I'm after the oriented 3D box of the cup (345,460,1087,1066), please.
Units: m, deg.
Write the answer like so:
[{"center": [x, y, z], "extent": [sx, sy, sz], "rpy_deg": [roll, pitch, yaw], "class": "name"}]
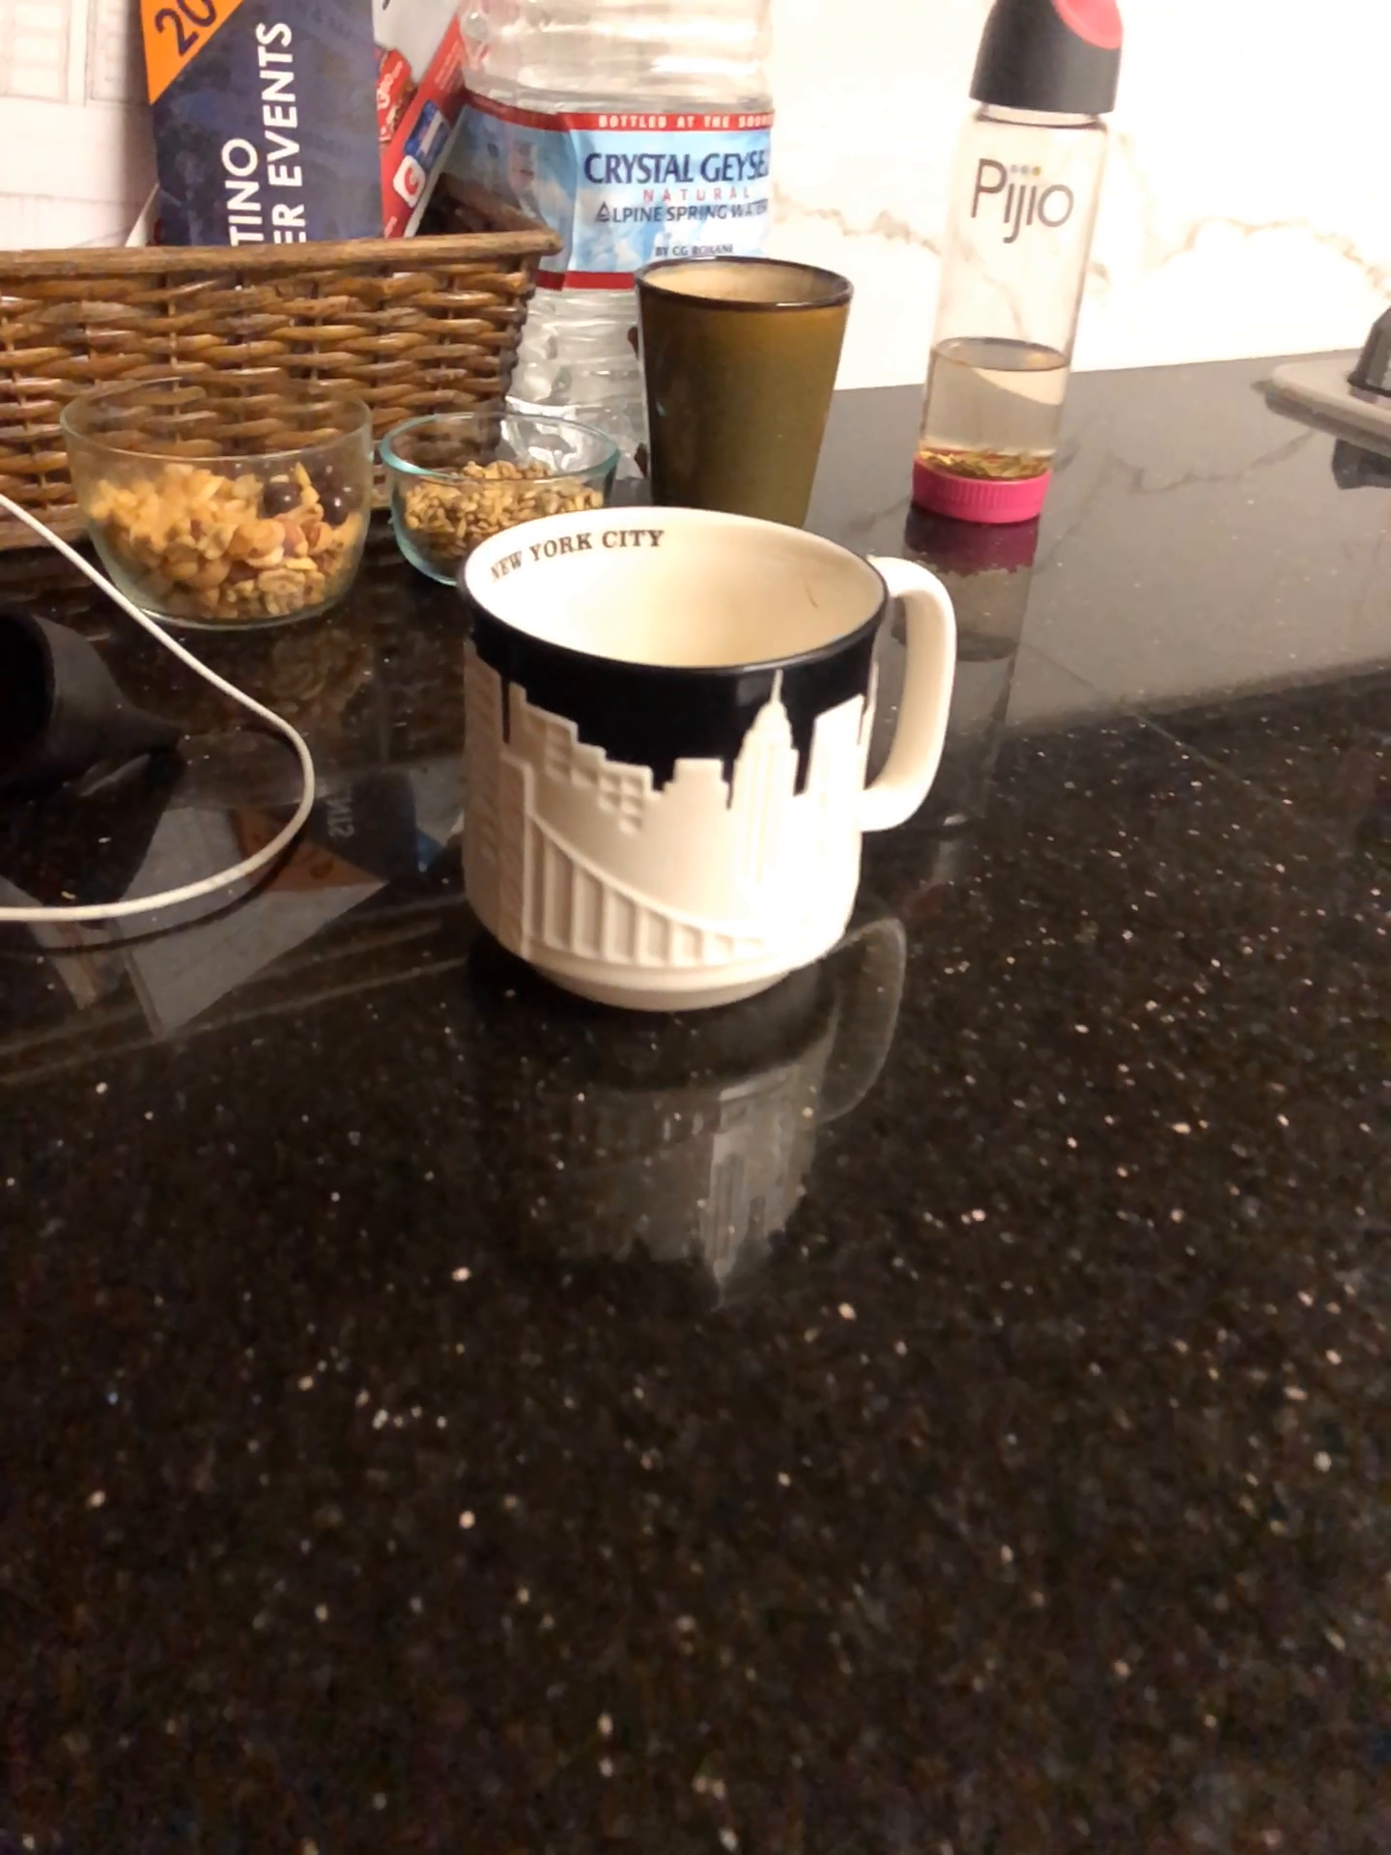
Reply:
[{"center": [0.005, -0.054, 0.405], "extent": [0.150, 0.089, 0.110], "rpy_deg": [-22, 41, -34], "class": "cup"}]
